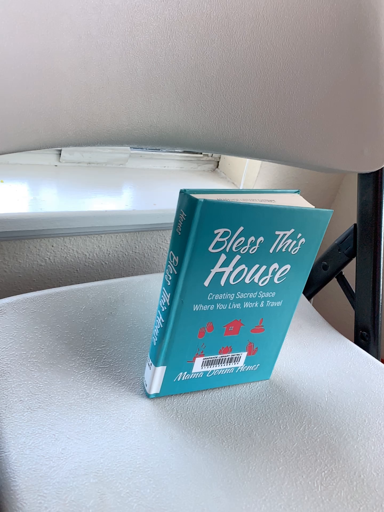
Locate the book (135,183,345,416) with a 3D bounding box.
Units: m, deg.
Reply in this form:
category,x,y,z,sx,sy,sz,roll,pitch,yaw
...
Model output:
category,x,y,z,sx,sy,sz,roll,pitch,yaw
book,0.037,0.034,0.343,0.142,0.181,0.051,-5,29,-33
